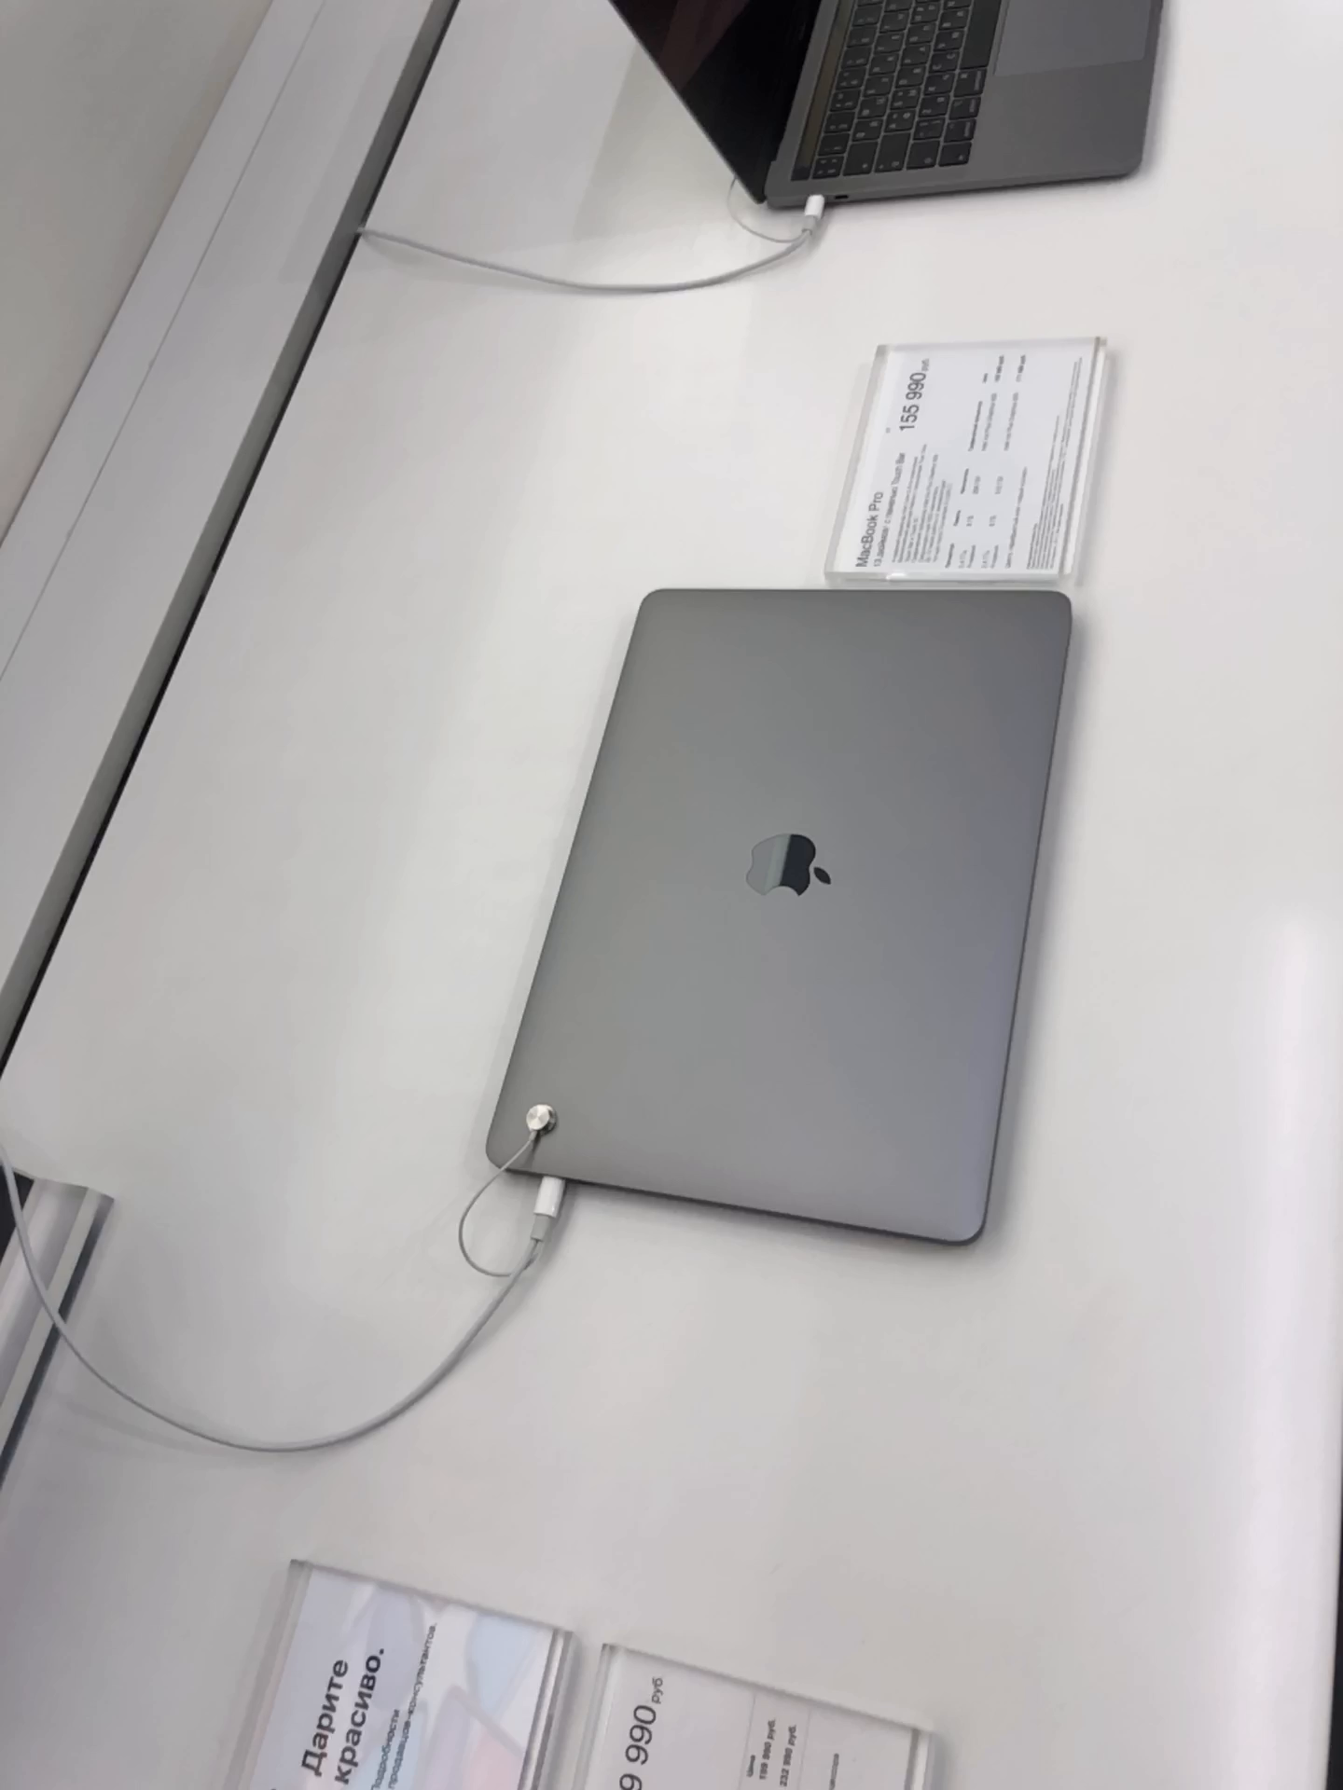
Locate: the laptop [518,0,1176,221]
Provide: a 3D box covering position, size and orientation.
[{"bbox_3d":[0.118,-0.565,0.803,0.276,0.187,0.309,2,63,17],"label":"laptop"}]

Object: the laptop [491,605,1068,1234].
[{"bbox_3d":[0.050,-0.008,0.642,0.202,0.001,0.280,6,67,20],"label":"laptop"}]
